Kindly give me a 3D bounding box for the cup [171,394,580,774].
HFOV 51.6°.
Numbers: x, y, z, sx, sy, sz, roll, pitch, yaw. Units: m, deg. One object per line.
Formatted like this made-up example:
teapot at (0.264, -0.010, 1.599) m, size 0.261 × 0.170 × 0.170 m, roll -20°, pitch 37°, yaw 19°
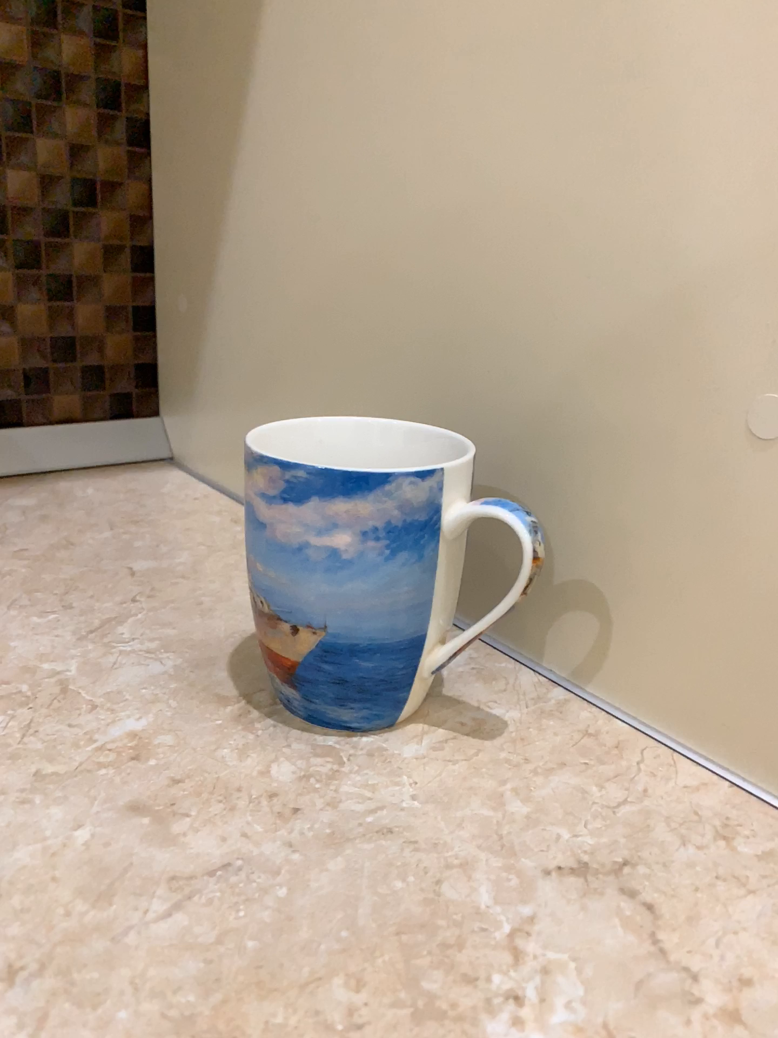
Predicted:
cup at (-0.001, 0.013, 0.276) m, size 0.114 × 0.087 × 0.083 m, roll 9°, pitch 19°, yaw 15°
